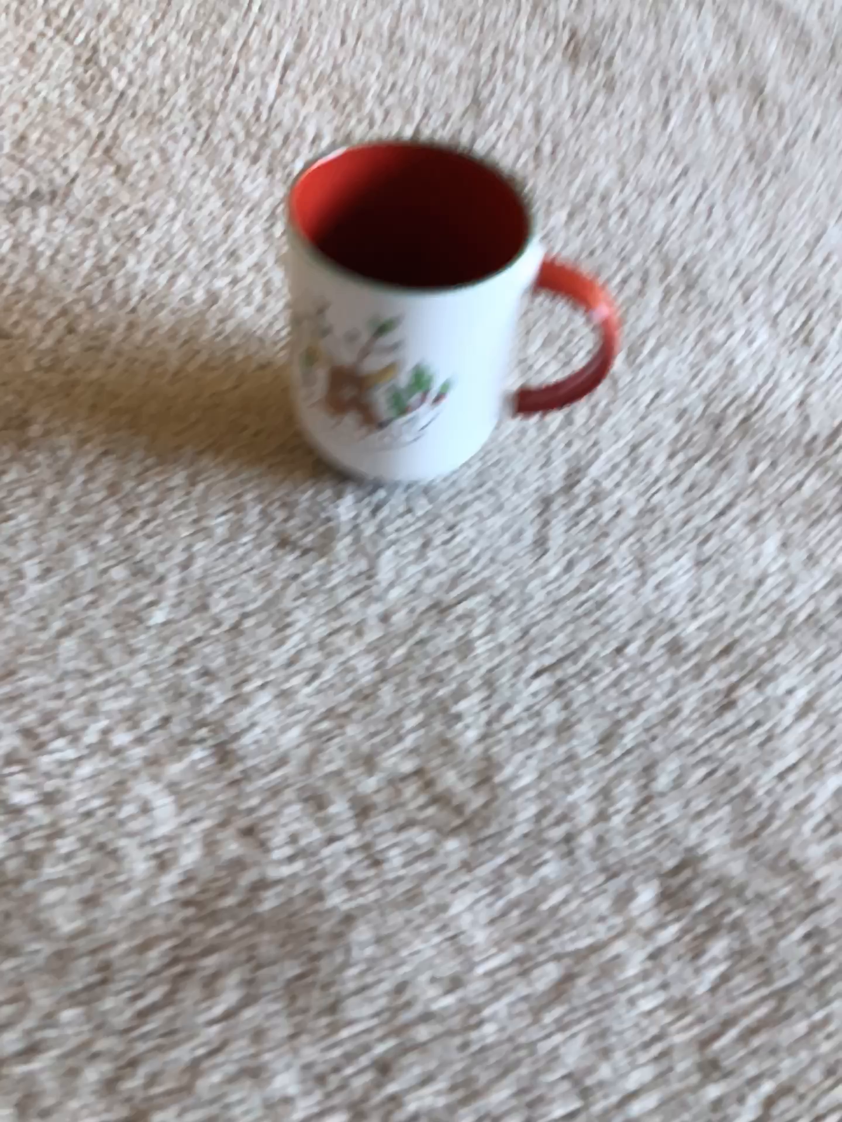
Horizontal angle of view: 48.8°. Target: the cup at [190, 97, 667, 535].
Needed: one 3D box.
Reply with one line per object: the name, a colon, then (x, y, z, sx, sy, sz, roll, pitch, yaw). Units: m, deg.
cup: (0.005, -0.093, 0.351, 0.140, 0.090, 0.100, 15, 55, 7)
